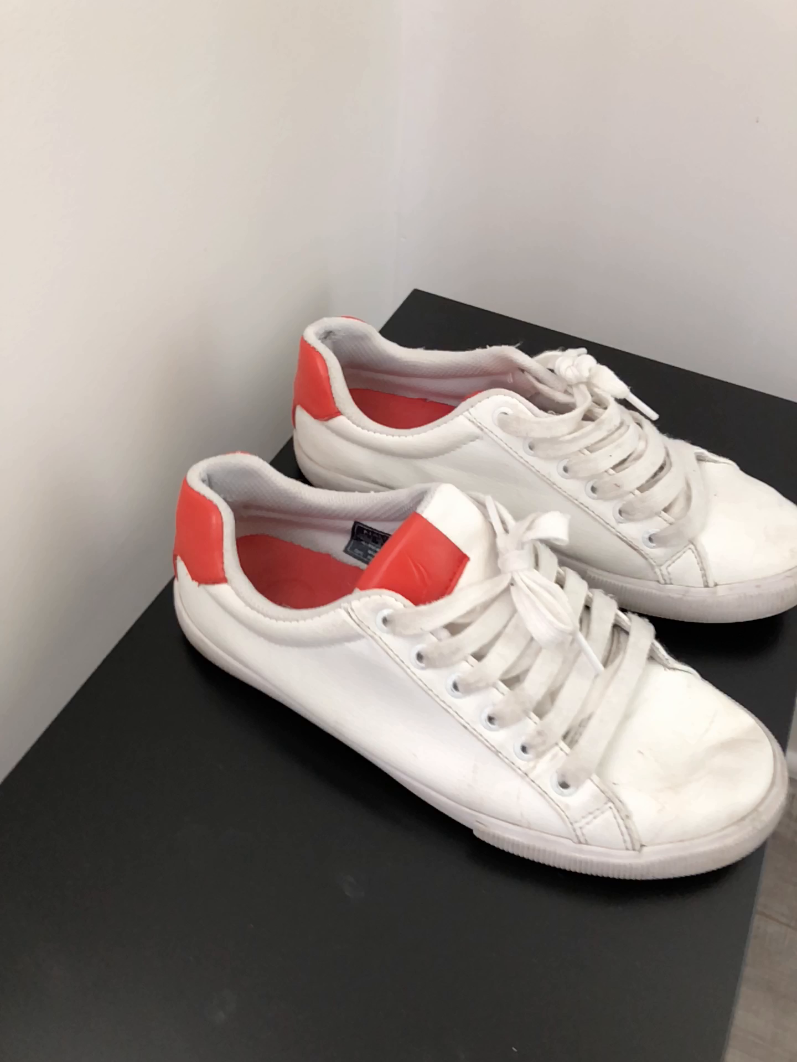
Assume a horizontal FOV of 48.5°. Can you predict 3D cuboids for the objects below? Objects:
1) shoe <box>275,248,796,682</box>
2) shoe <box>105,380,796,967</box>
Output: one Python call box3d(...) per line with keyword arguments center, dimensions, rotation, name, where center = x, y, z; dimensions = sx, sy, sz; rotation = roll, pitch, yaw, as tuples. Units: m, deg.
box3d(center=(0.074, -0.036, 0.387), dimensions=(0.230, 0.080, 0.100), rotation=(19, 49, 14), name="shoe")
box3d(center=(0.034, 0.040, 0.312), dimensions=(0.235, 0.080, 0.102), rotation=(19, 49, 14), name="shoe")
